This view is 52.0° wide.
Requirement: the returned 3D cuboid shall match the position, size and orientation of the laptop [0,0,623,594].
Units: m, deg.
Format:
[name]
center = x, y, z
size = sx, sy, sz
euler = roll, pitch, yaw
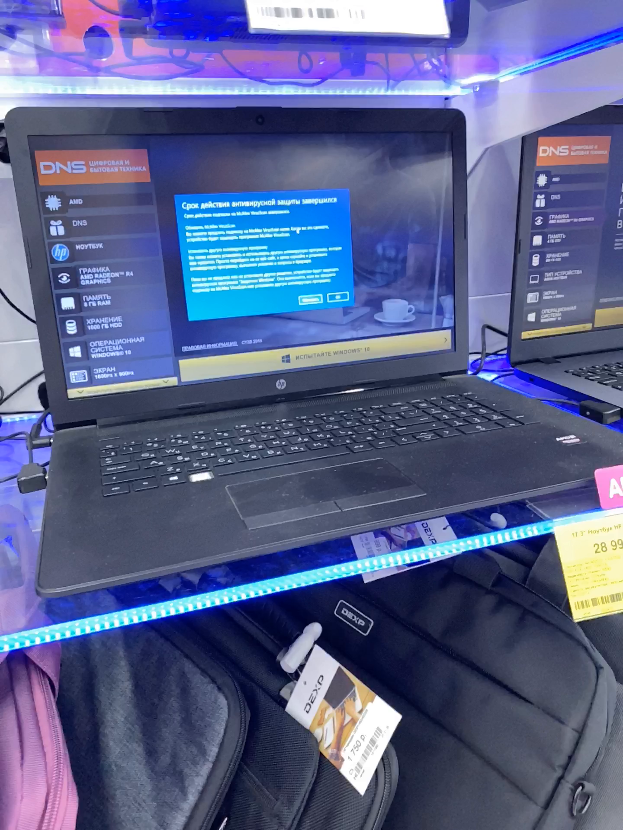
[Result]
[laptop]
center = 0.005, -0.105, 0.479
size = 0.419, 0.260, 0.295
euler = -8, 18, -18
